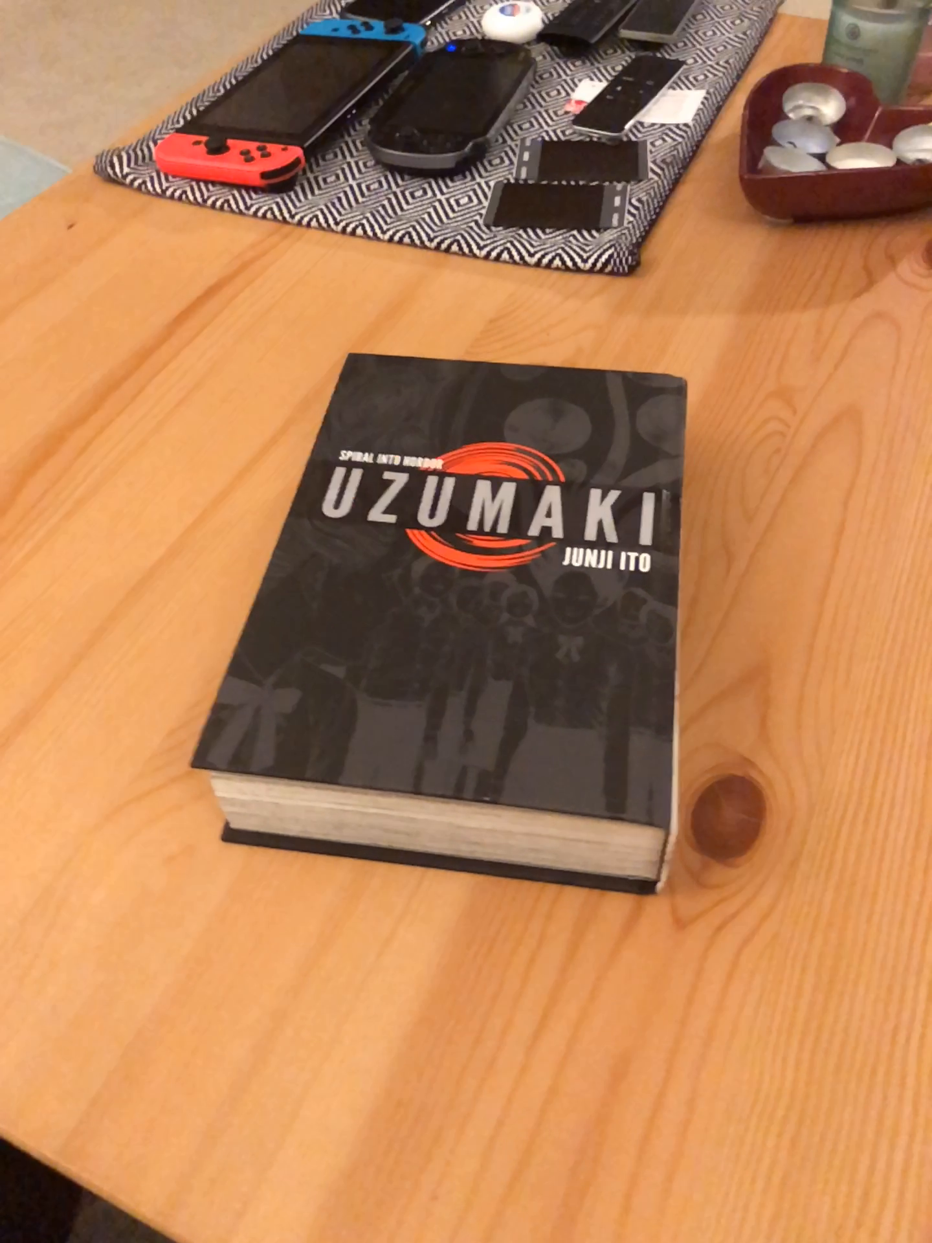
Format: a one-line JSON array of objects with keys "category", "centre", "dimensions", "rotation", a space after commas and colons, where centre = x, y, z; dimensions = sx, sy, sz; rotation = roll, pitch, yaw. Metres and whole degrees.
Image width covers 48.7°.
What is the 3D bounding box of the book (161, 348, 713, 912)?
[{"category": "book", "centre": [0.005, -0.012, 0.372], "dimensions": [0.156, 0.048, 0.205], "rotation": [6, 51, 7]}]
